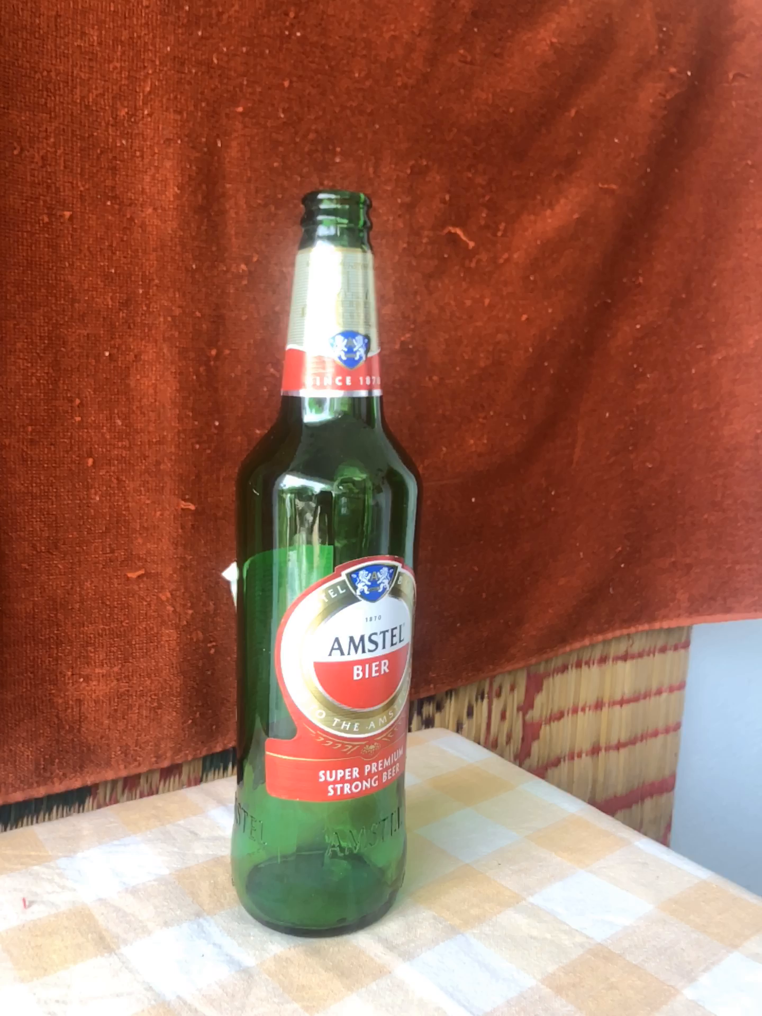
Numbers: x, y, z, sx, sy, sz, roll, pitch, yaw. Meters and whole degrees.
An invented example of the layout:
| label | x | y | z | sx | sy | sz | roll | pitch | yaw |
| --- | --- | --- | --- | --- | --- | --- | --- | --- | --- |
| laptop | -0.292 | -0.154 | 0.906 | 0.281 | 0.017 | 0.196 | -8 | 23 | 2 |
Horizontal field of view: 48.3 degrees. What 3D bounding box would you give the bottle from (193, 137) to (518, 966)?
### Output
| label | x | y | z | sx | sy | sz | roll | pitch | yaw |
| --- | --- | --- | --- | --- | --- | --- | --- | --- | --- |
| bottle | -0.017 | 0.016 | 0.324 | 0.080 | 0.269 | 0.080 | 4 | 8 | -1 |
